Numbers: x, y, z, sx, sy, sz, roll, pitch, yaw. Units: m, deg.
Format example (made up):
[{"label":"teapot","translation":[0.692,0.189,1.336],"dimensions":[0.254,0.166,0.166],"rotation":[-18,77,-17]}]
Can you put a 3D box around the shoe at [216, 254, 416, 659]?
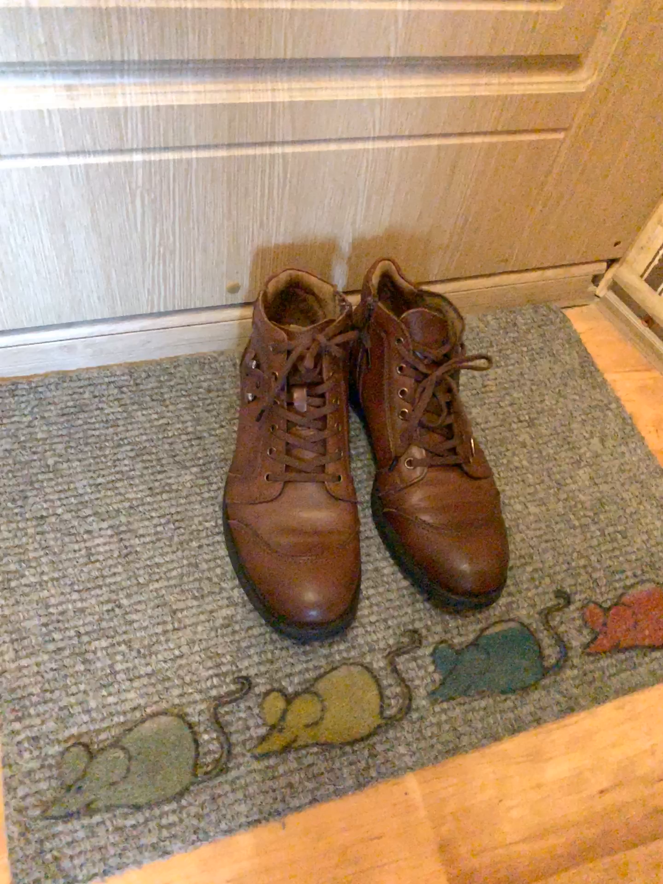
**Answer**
[{"label":"shoe","translation":[-0.026,0.006,0.500],"dimensions":[0.110,0.140,0.261],"rotation":[1,55,-9]}]

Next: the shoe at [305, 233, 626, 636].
[{"label":"shoe","translation":[0.079,-0.014,0.530],"dimensions":[0.110,0.140,0.271],"rotation":[-11,58,-17]}]
